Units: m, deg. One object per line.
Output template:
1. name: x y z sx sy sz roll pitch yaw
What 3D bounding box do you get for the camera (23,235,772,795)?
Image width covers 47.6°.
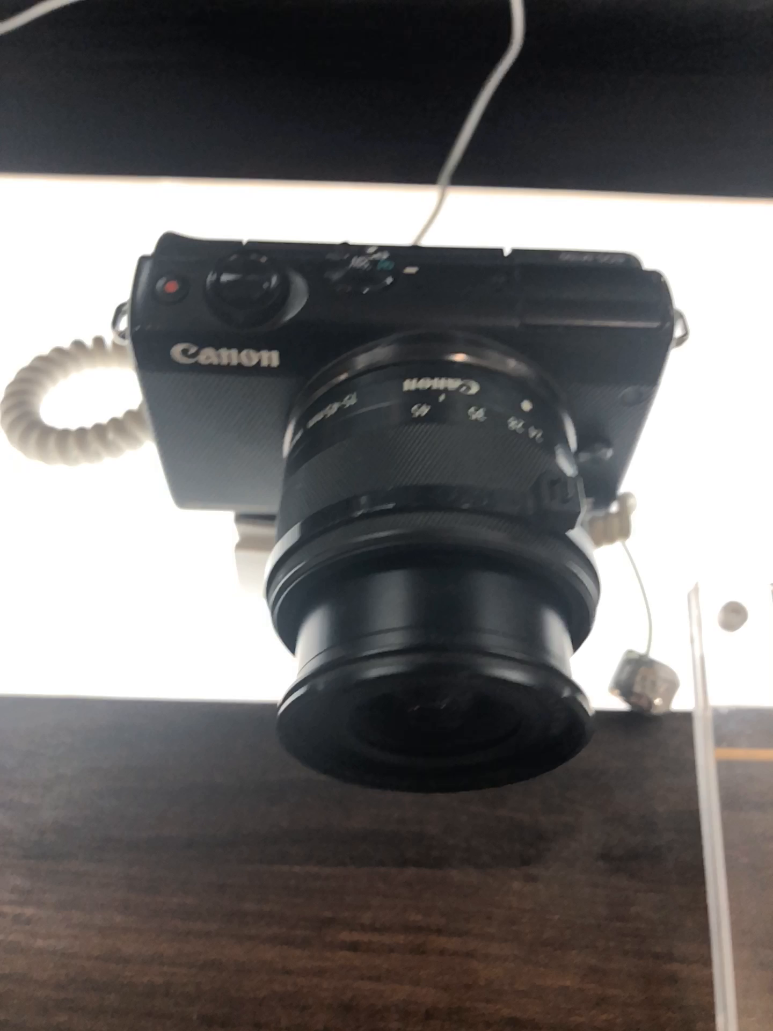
1. camera: 0.002 -0.002 0.189 0.112 0.071 0.094 2 48 0
